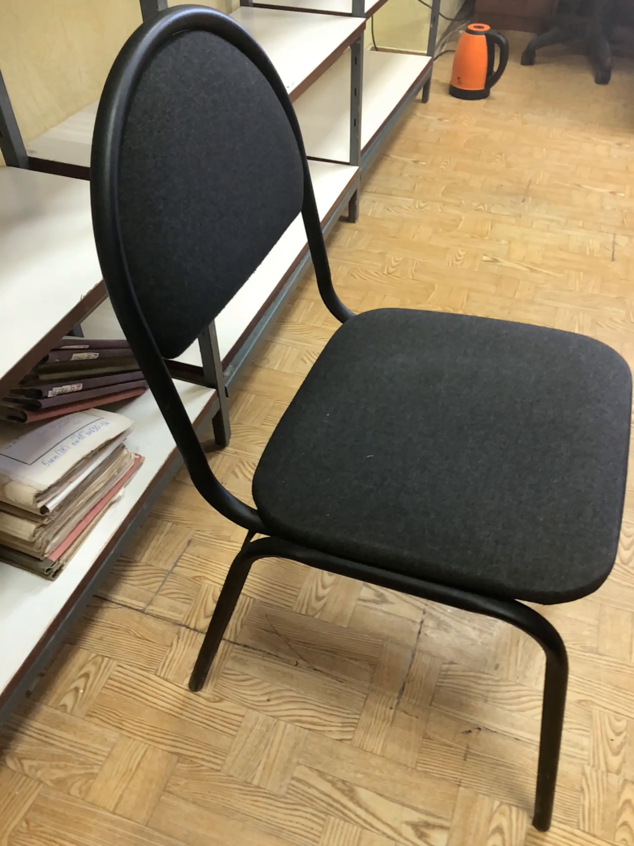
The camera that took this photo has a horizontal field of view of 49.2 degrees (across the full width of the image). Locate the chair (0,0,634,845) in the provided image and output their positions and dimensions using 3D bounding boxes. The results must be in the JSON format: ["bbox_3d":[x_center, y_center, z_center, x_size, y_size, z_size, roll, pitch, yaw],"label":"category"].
[{"bbox_3d":[0.105,0.011,0.816,0.560,0.835,0.475,16,46,15],"label":"chair"}]
